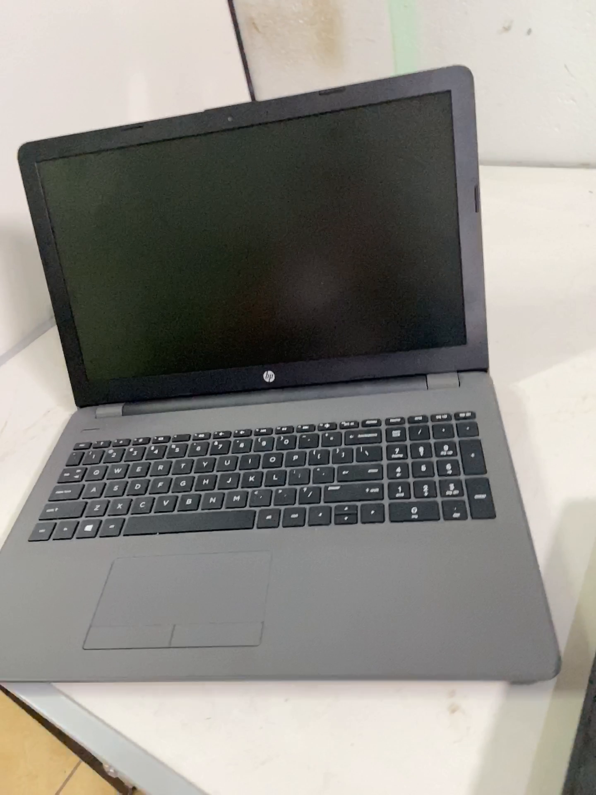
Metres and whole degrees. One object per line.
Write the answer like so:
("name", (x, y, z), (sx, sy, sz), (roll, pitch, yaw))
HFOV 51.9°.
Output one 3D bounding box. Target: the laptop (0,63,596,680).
("laptop", (-0.052, -0.035, 0.430), (0.380, 0.206, 0.366), (-6, 42, 11))
